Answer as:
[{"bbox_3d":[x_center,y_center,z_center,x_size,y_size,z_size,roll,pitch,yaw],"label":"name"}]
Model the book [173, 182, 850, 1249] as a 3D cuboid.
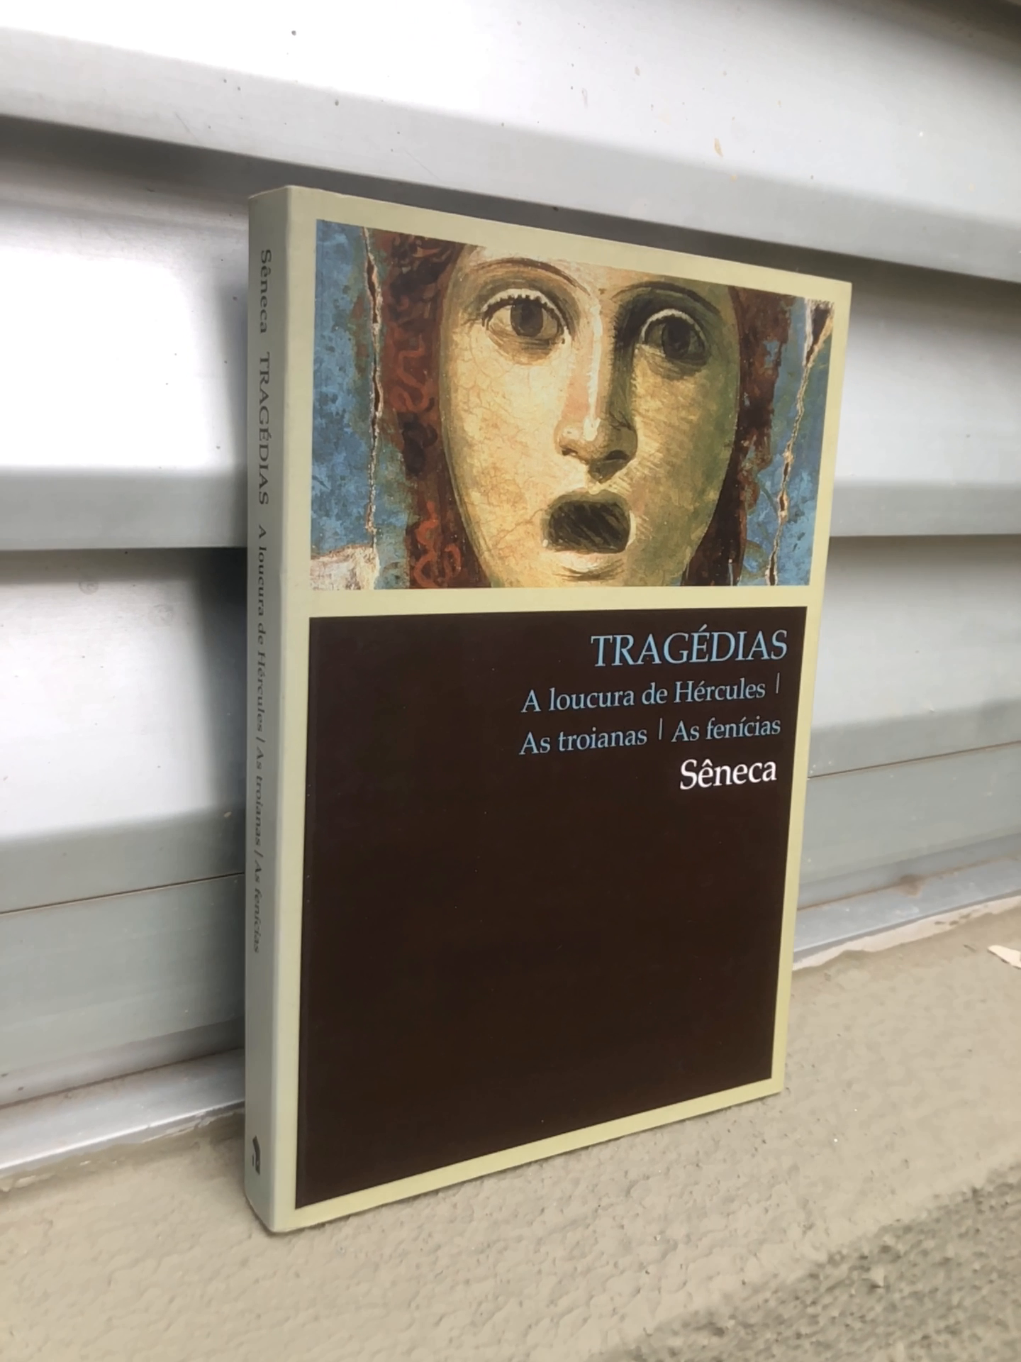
[{"bbox_3d":[0.005,0.007,0.251,0.144,0.197,0.026,-3,10,-27],"label":"book"}]
